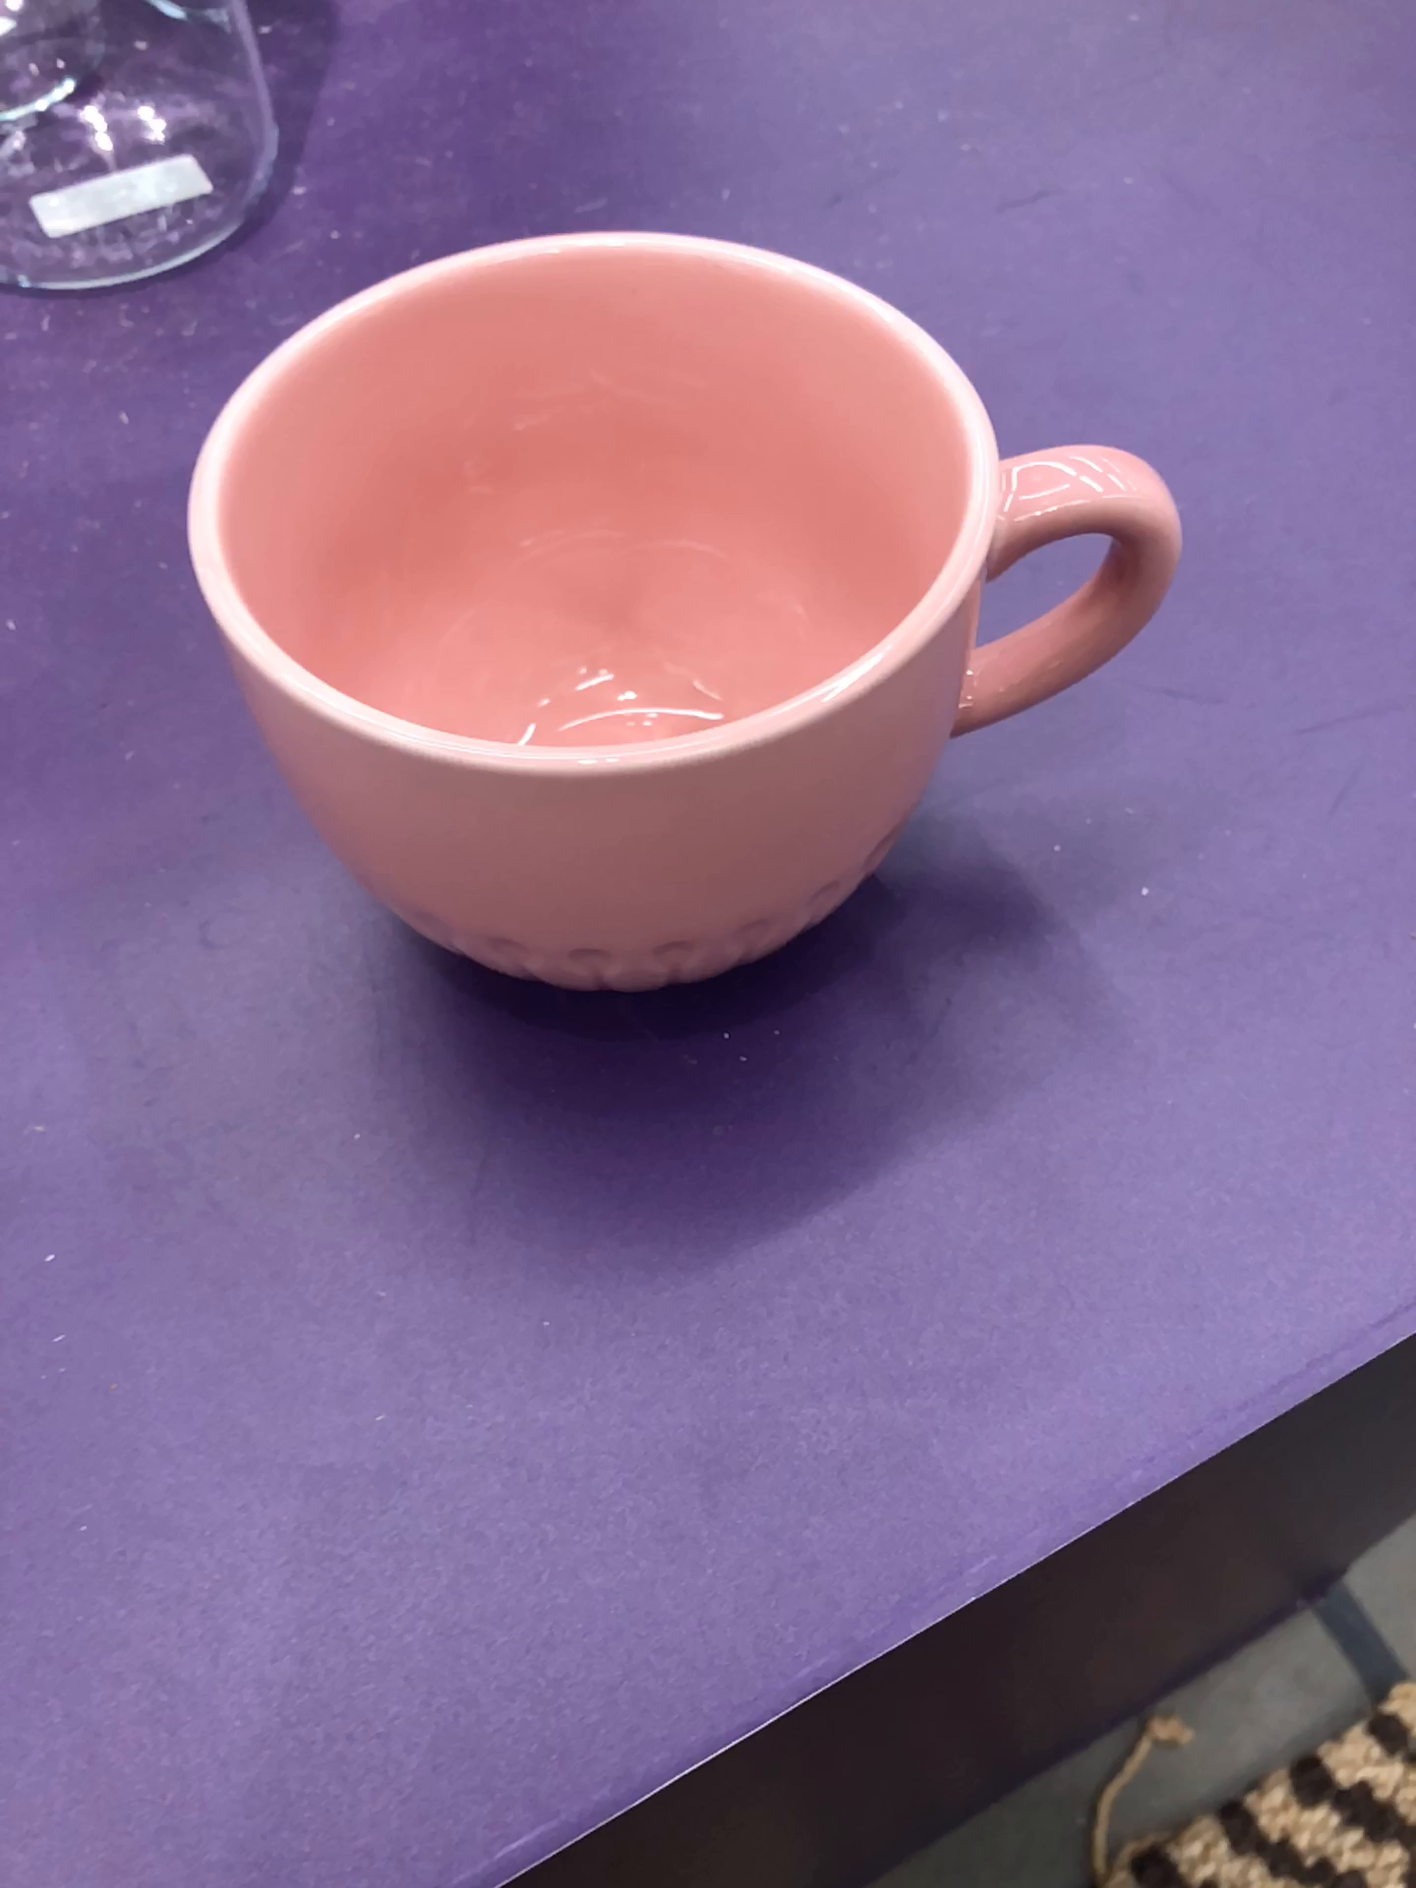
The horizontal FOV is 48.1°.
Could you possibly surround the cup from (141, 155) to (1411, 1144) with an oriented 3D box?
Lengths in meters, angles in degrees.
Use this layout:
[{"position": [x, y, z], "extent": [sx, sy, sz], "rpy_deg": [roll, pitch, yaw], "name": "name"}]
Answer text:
[{"position": [0.001, -0.046, 0.227], "extent": [0.140, 0.060, 0.111], "rpy_deg": [-10, 56, -4], "name": "cup"}]
